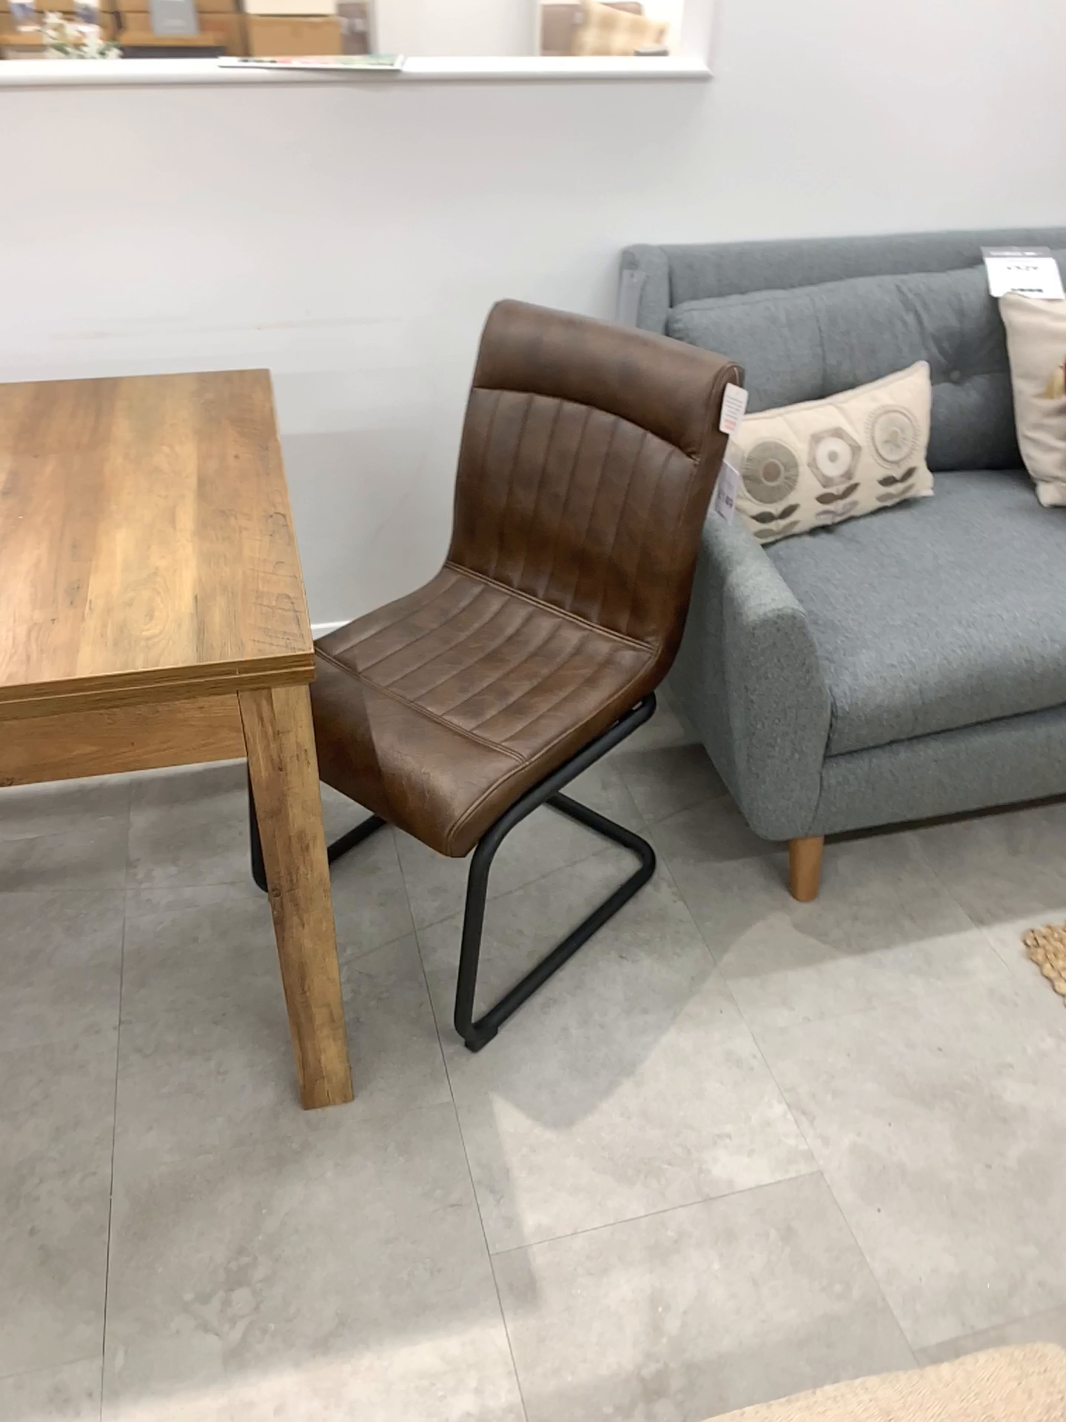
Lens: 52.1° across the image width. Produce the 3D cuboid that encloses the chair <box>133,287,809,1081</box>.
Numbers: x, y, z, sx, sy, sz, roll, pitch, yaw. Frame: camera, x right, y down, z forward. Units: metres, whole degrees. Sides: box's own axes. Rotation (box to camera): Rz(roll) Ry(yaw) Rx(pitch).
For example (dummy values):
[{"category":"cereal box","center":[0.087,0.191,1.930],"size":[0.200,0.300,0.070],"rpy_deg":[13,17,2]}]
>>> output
[{"category":"chair","center":[-0.060,-0.073,1.512],"size":[0.499,0.773,0.635],"rpy_deg":[27,44,30]}]
